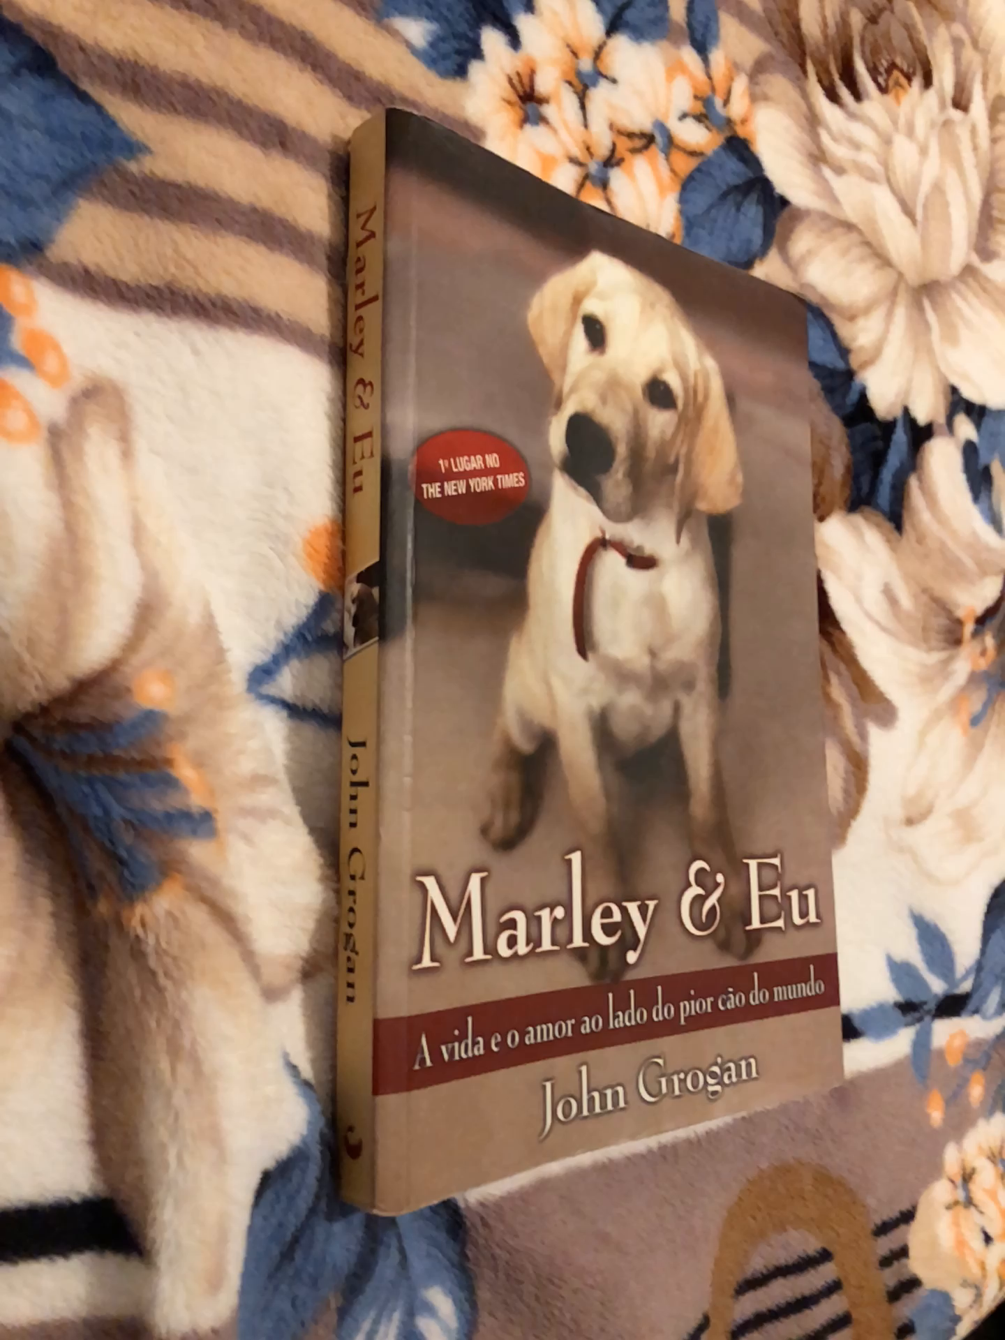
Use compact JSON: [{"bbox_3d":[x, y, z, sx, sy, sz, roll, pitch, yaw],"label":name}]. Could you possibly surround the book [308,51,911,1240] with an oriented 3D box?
[{"bbox_3d":[0.036,-0.005,0.284,0.171,0.040,0.230,5,81,-41],"label":"book"}]
